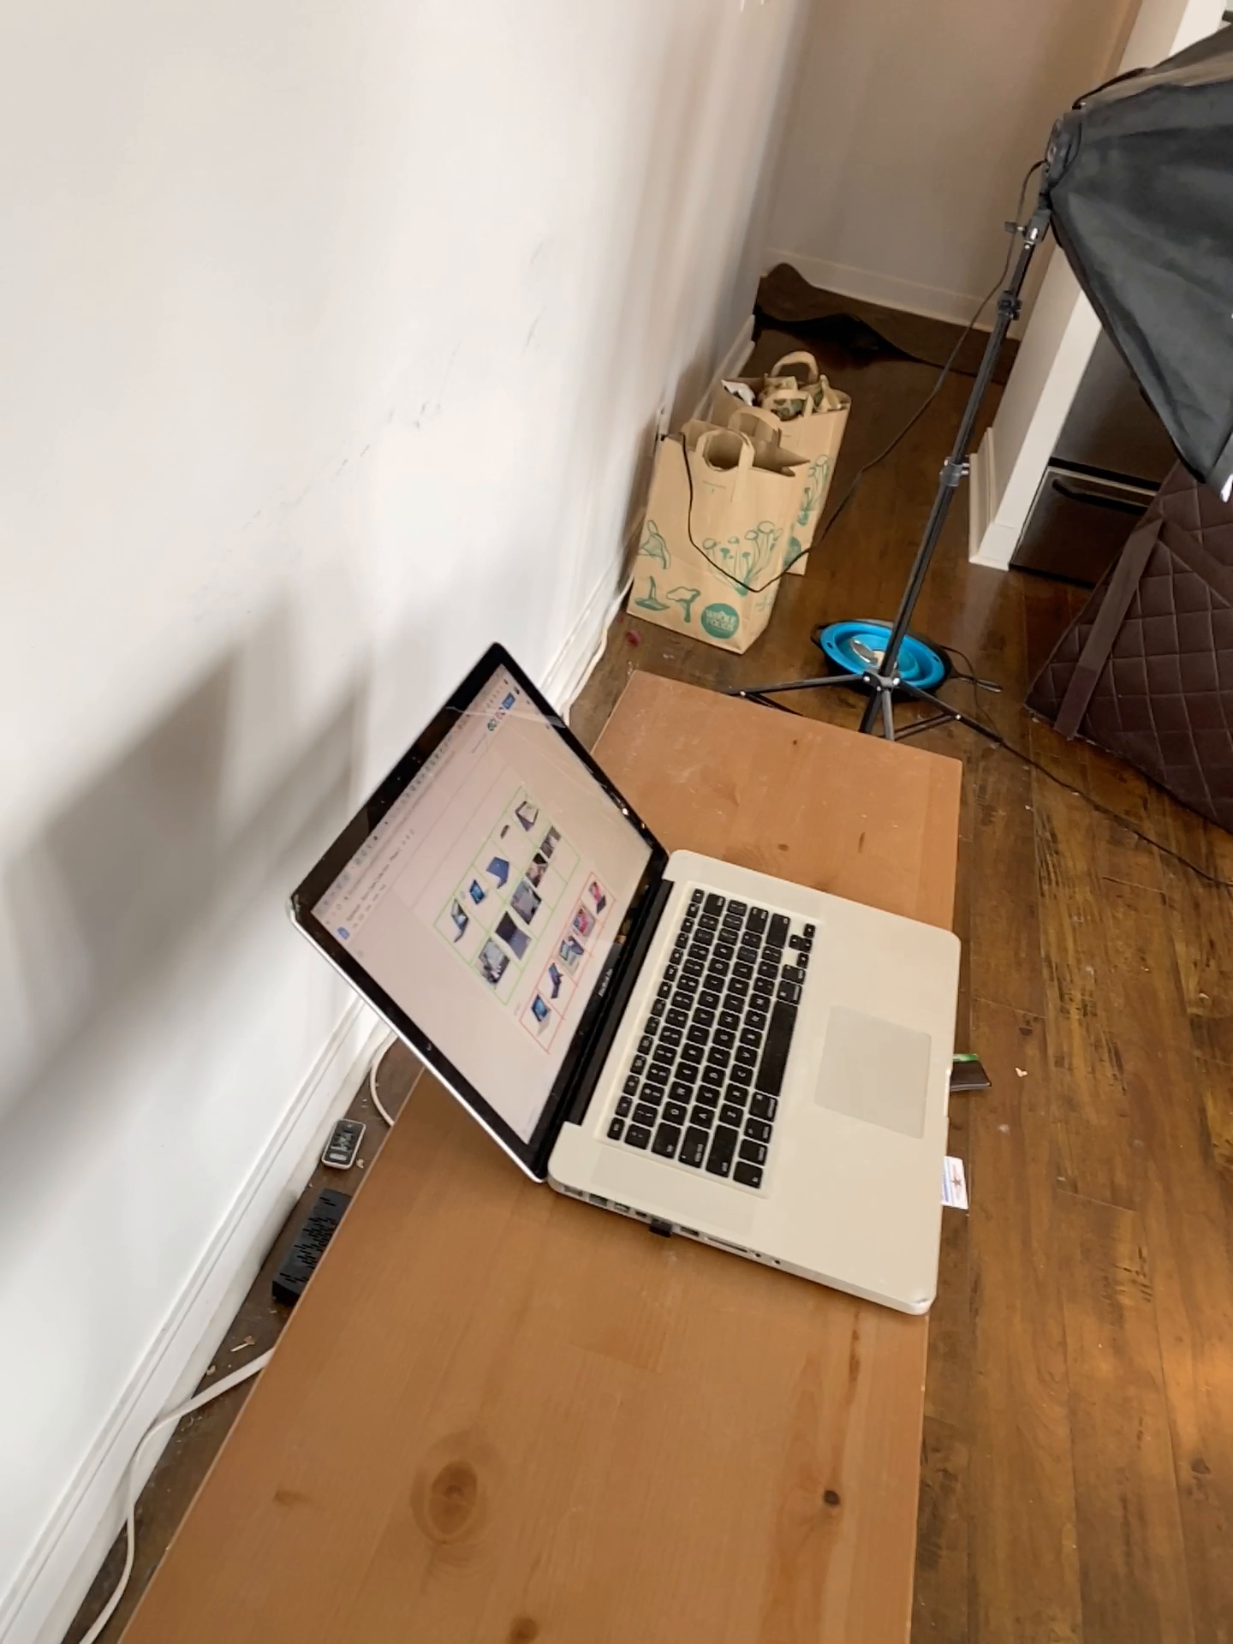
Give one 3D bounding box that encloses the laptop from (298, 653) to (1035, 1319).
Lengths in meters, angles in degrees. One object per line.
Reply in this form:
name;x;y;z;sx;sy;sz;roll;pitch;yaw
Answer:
laptop;0.055;0.085;0.898;0.435;0.155;0.361;17;37;7
